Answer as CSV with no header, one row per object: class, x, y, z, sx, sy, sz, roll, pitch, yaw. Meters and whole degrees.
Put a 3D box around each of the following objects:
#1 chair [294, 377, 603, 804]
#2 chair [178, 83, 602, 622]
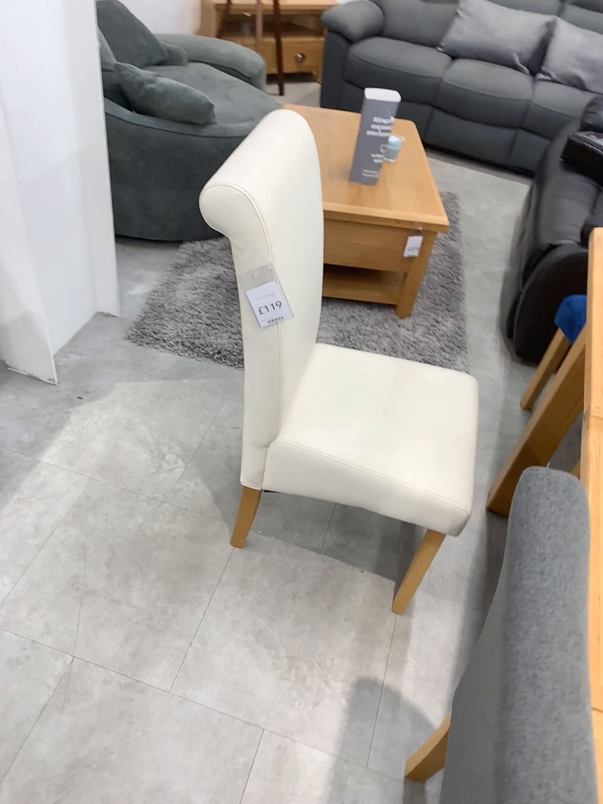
chair,0.396,0.536,0.841,0.582,0.906,0.487,18,44,8
chair,0.113,-0.062,1.340,0.591,0.935,0.518,15,44,5
